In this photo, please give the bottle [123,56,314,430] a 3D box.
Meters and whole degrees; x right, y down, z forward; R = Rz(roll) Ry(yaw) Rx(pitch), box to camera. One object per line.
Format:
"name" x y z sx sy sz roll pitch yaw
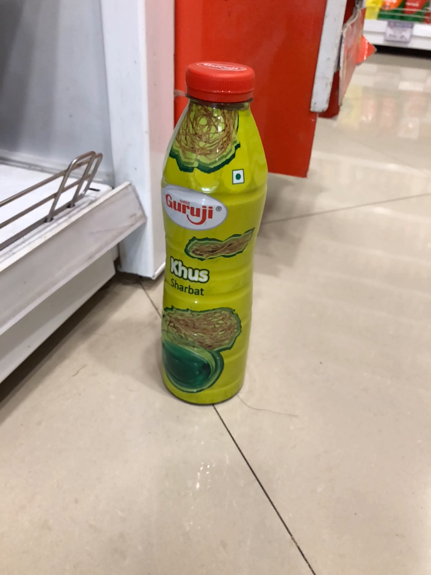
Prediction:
"bottle" -0.001 -0.024 0.341 0.080 0.238 0.081 2 34 -1
